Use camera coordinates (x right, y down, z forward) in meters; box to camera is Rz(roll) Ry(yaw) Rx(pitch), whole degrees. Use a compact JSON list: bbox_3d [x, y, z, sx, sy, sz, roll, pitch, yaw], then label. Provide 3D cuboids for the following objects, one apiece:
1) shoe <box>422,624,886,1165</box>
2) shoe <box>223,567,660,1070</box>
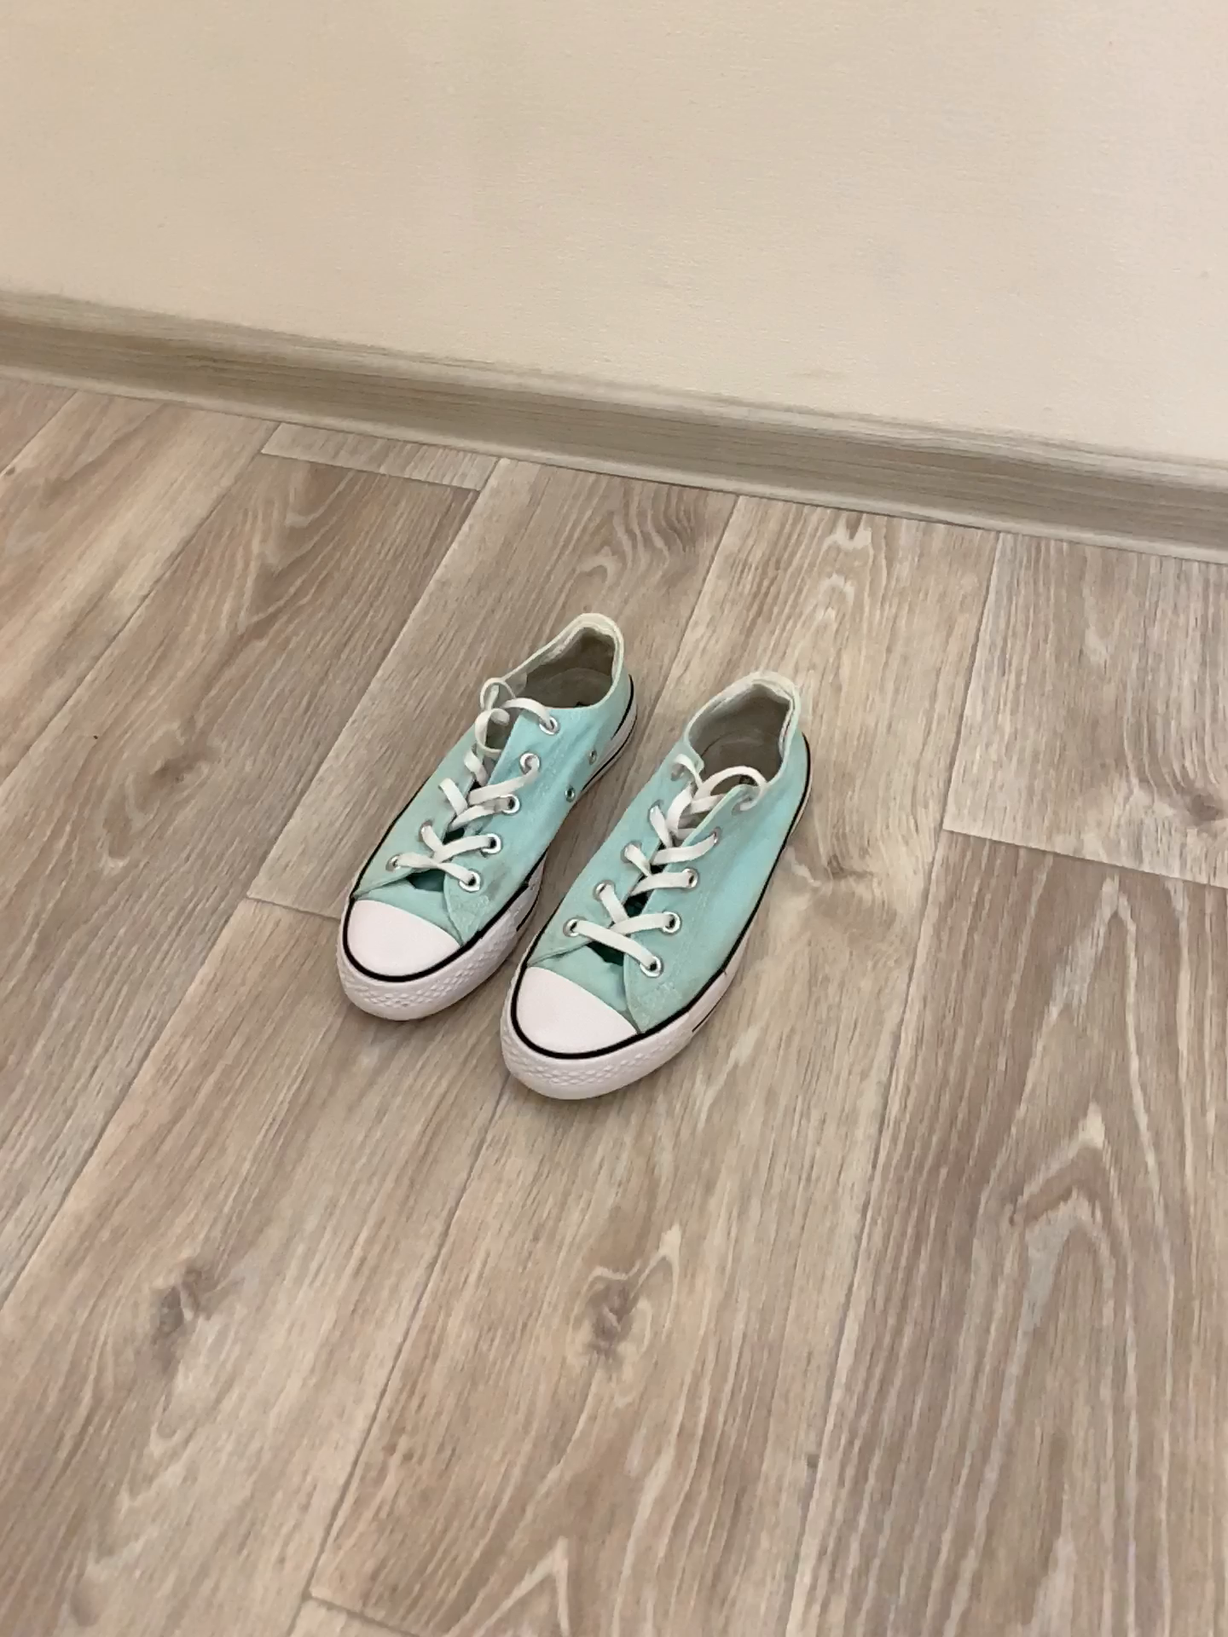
[{"bbox_3d":[0.028,0.023,0.592,0.100,0.060,0.251,23,57,20],"label":"shoe"},{"bbox_3d":[-0.071,-0.012,0.617,0.092,0.060,0.251,19,55,17],"label":"shoe"}]
